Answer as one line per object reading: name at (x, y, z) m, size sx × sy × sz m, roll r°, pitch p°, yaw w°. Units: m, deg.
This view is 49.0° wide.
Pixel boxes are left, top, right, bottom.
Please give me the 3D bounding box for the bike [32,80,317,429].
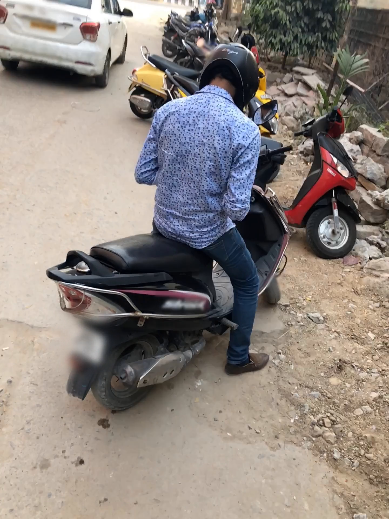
bike at (-0.049, -0.181, 2.203) m, size 0.560 × 1.054 × 1.481 m, roll 26°, pitch 38°, yaw 23°
